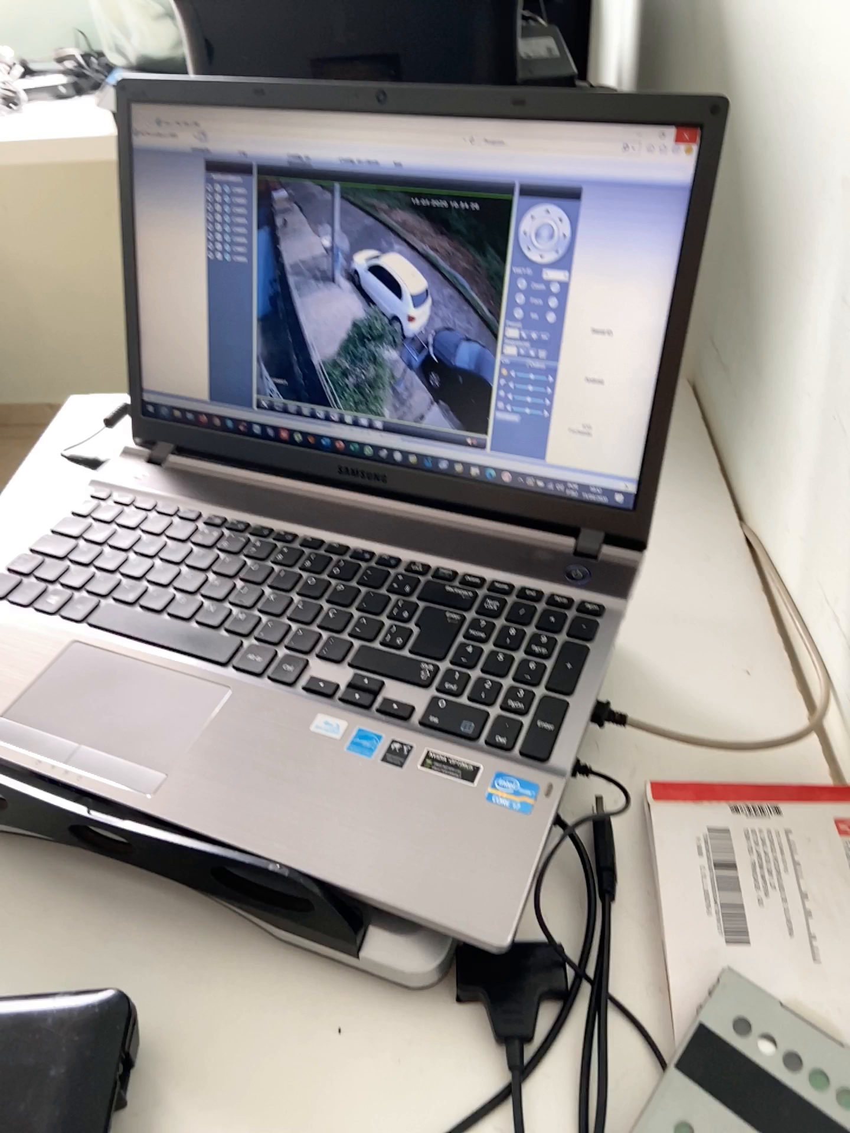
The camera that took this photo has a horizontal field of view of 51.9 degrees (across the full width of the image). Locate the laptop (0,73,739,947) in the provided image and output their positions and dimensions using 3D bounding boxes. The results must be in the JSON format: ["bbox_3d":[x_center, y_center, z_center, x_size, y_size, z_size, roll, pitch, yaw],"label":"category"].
[{"bbox_3d":[-0.076,-0.082,0.442,0.367,0.213,0.336,13,45,20],"label":"laptop"}]
